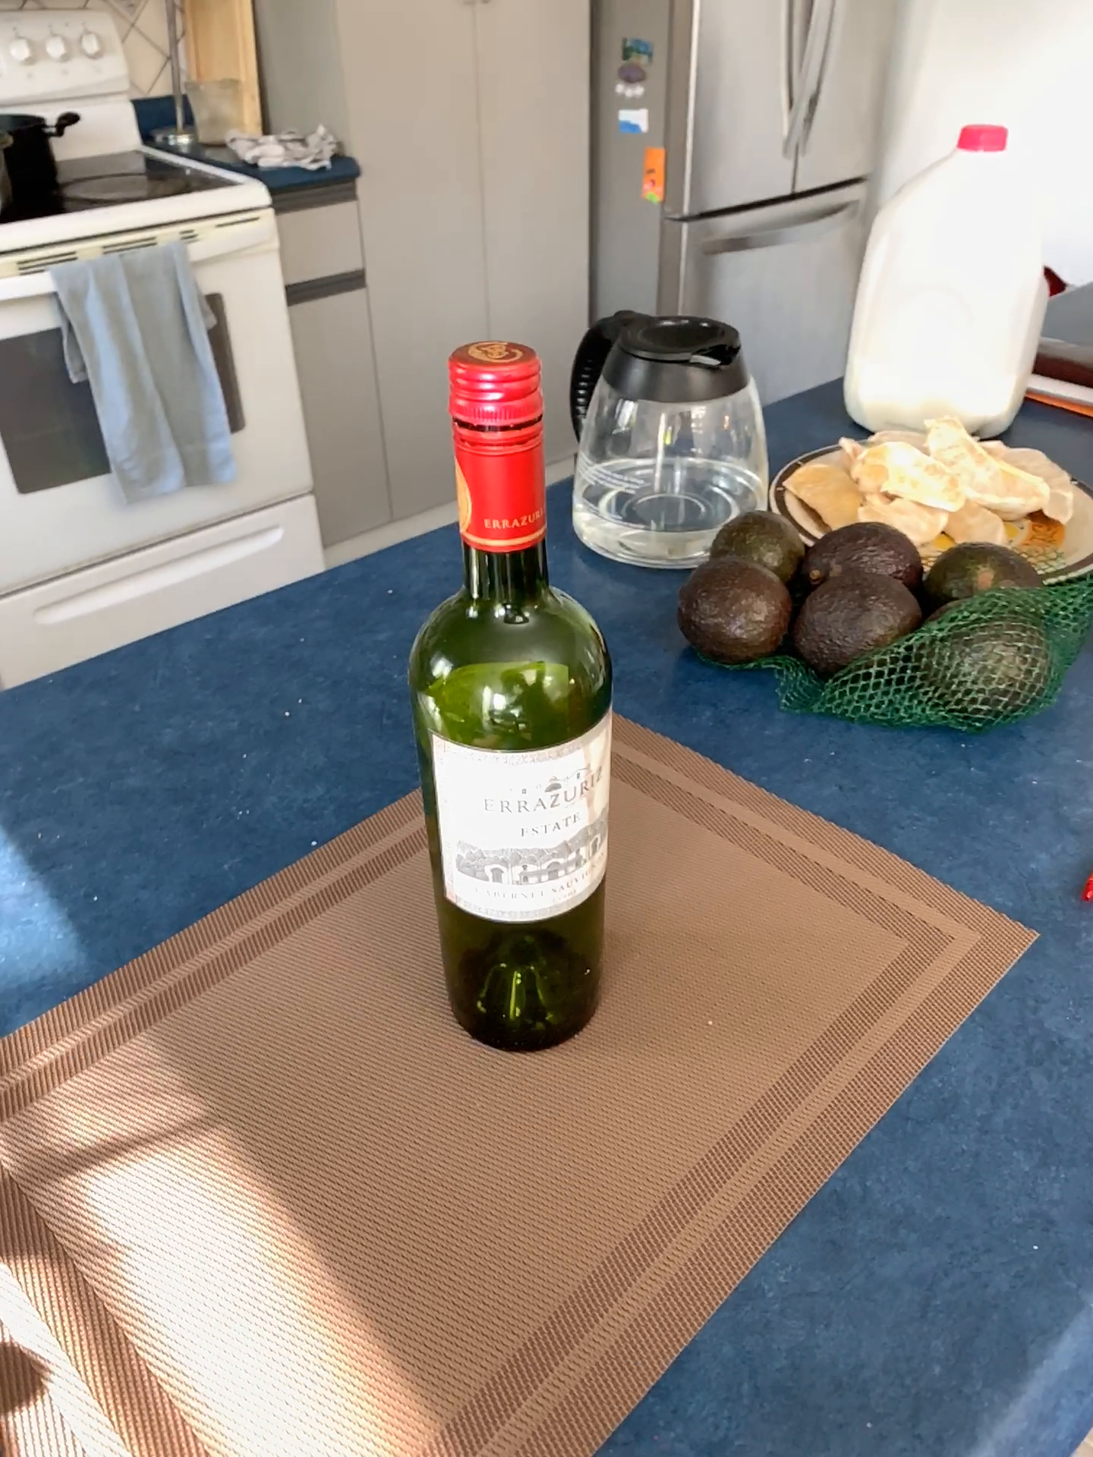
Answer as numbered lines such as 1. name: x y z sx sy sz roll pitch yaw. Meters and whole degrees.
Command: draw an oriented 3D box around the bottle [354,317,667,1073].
1. bottle: -0.012 0.001 0.427 0.080 0.277 0.081 -1 35 1
